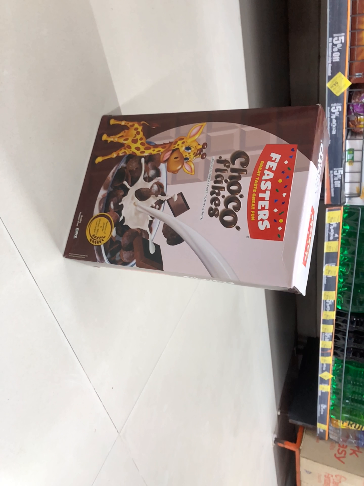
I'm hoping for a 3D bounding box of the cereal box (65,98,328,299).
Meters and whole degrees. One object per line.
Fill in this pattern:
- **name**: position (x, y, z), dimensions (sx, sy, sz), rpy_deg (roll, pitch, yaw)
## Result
- **cereal box**: position (0.014, -0.054, 0.451), dimensions (0.060, 0.258, 0.190), rpy_deg (37, 62, -63)
